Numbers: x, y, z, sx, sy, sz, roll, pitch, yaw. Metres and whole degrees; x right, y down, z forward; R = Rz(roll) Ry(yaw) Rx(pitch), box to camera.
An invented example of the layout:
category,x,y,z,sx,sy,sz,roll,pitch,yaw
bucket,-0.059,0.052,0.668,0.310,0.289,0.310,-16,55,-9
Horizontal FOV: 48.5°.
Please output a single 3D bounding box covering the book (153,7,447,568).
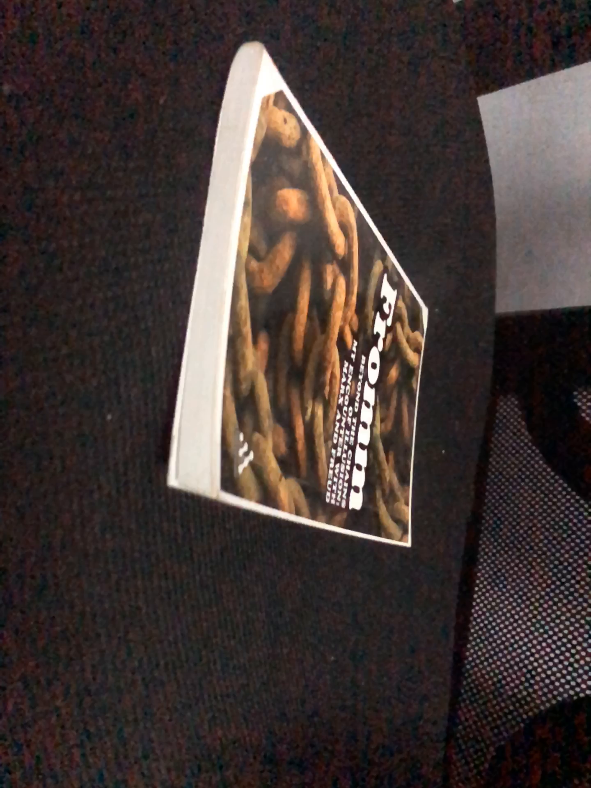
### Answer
category,x,y,z,sx,sy,sz,roll,pitch,yaw
book,0.024,-0.014,0.254,0.196,0.016,0.144,33,58,-57
